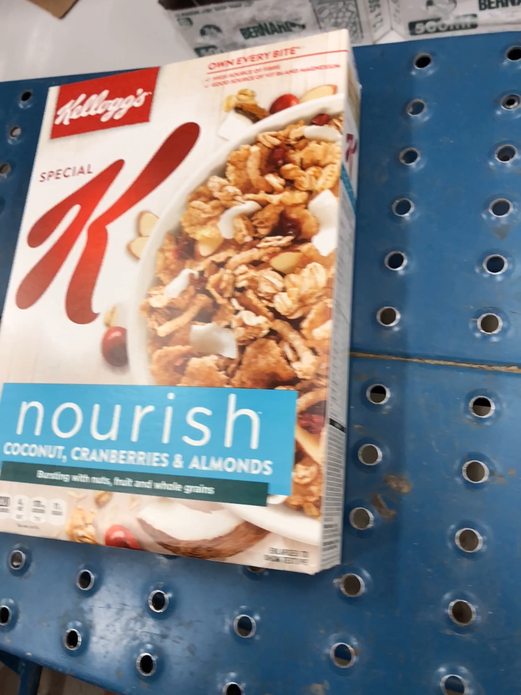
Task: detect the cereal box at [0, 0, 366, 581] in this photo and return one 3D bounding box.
[{"bbox_3d":[-0.055,-0.039,0.325,0.211,0.050,0.290,-1,75,20],"label":"cereal box"}]
